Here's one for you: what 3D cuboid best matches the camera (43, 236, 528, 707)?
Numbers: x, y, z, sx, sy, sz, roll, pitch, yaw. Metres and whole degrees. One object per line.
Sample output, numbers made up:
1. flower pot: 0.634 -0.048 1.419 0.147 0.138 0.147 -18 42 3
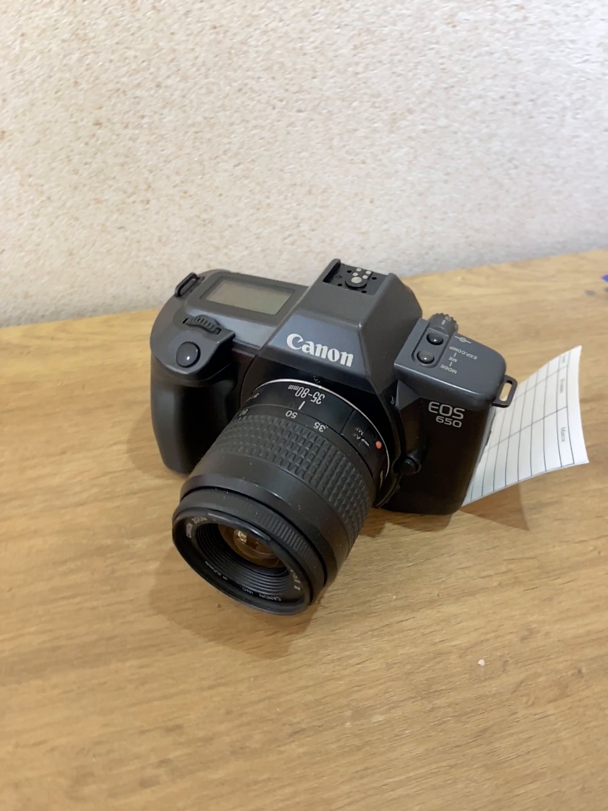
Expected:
1. camera: 0.004 0.015 0.275 0.140 0.099 0.141 16 44 18
